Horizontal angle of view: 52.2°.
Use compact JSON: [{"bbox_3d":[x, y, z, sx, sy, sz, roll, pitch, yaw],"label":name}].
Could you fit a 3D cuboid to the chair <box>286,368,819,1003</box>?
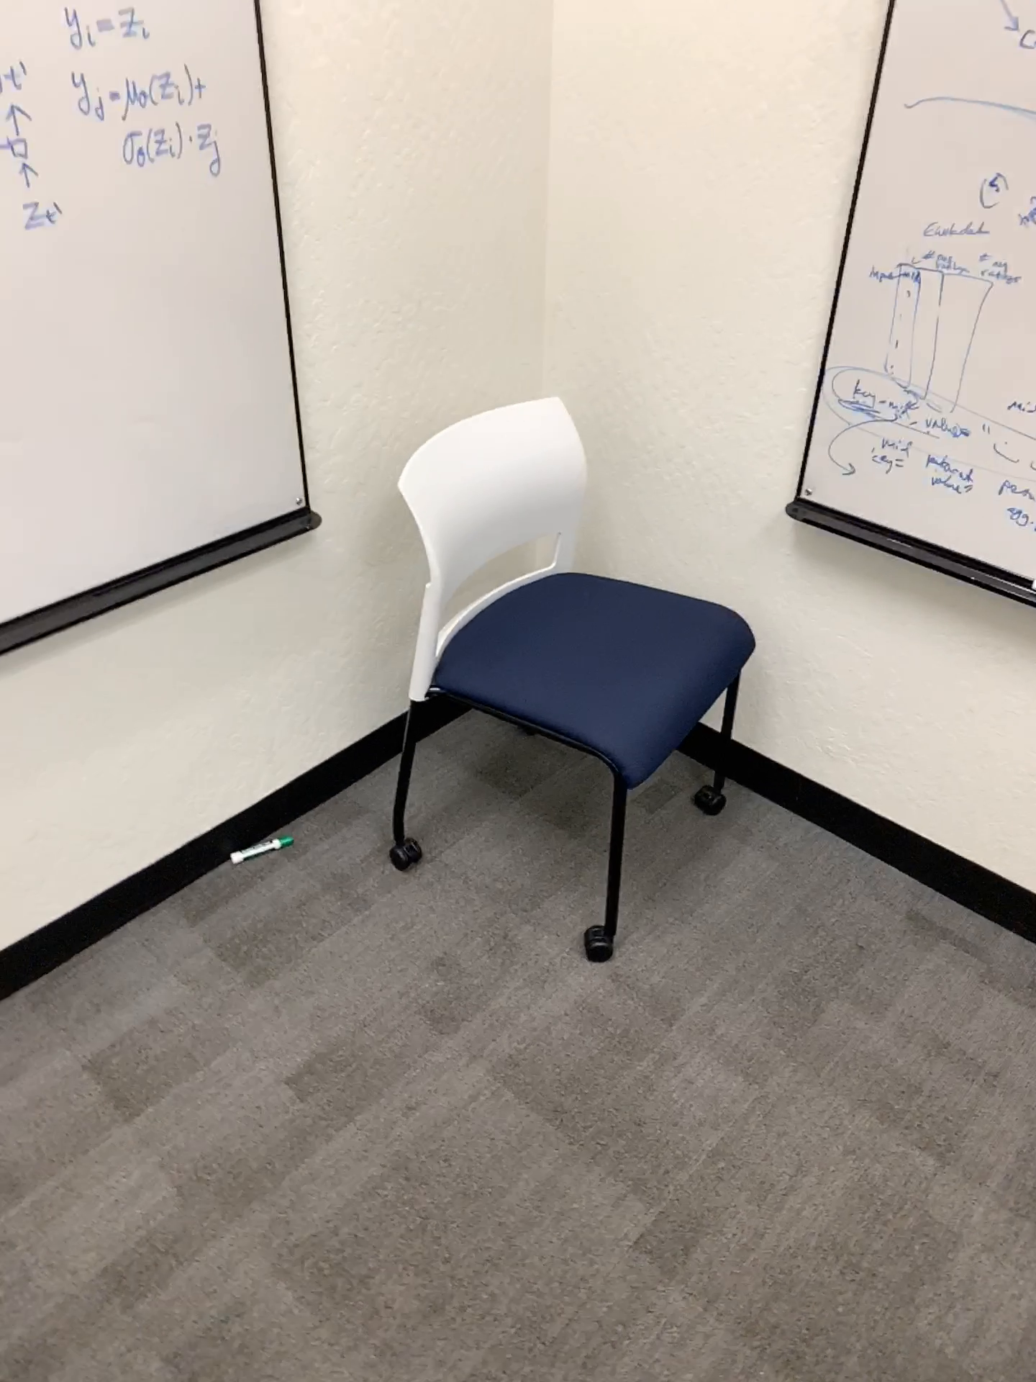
[{"bbox_3d":[0.073,-0.053,2.052,0.642,0.835,0.702,22,40,26],"label":"chair"}]
